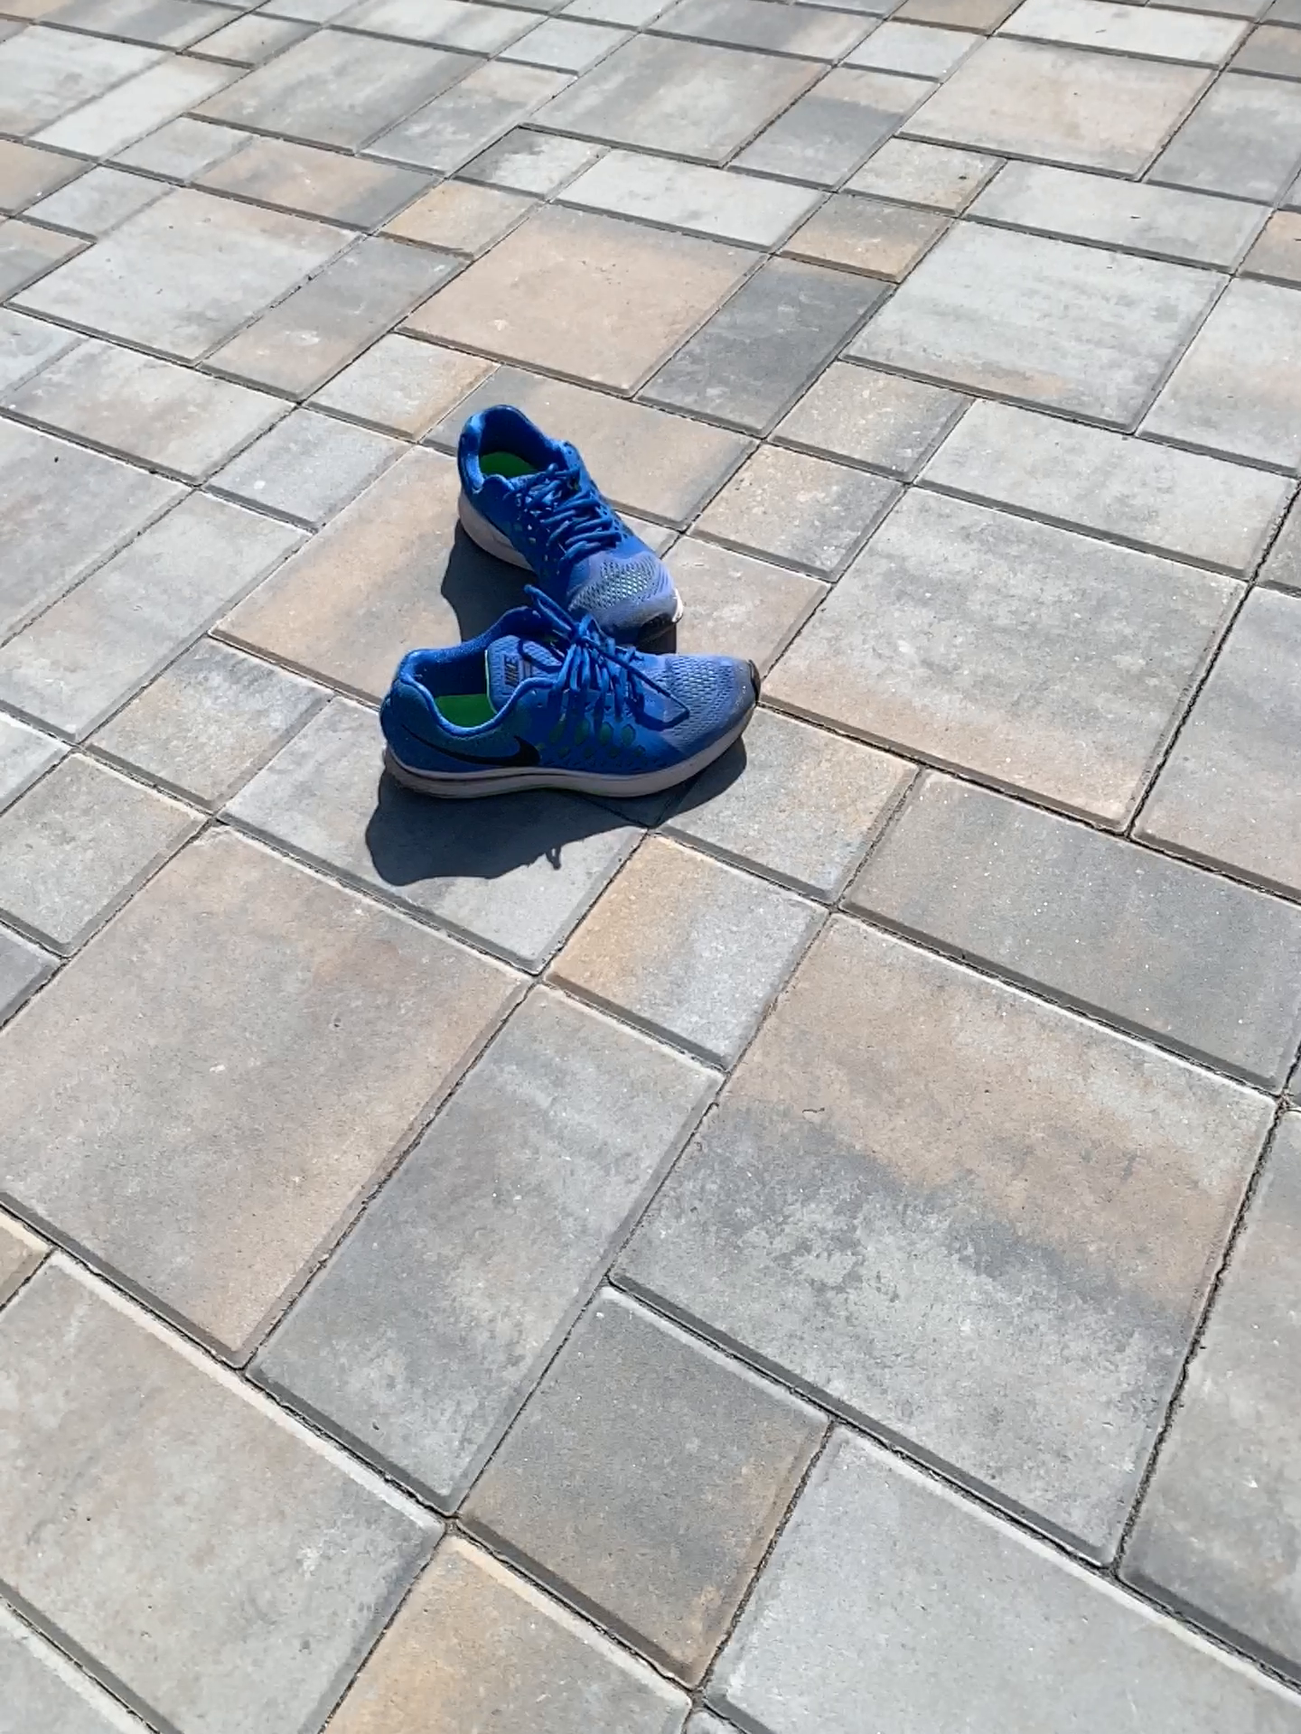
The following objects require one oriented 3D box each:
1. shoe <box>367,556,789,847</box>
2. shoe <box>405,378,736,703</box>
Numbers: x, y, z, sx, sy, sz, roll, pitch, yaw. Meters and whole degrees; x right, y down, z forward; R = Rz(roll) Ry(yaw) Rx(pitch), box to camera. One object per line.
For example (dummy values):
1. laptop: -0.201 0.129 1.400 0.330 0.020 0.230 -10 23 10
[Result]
1. shoe: -0.050 -0.116 0.931 0.270 0.110 0.121 -9 53 -2
2. shoe: -0.066 -0.264 1.045 0.120 0.080 0.281 -31 57 -18
